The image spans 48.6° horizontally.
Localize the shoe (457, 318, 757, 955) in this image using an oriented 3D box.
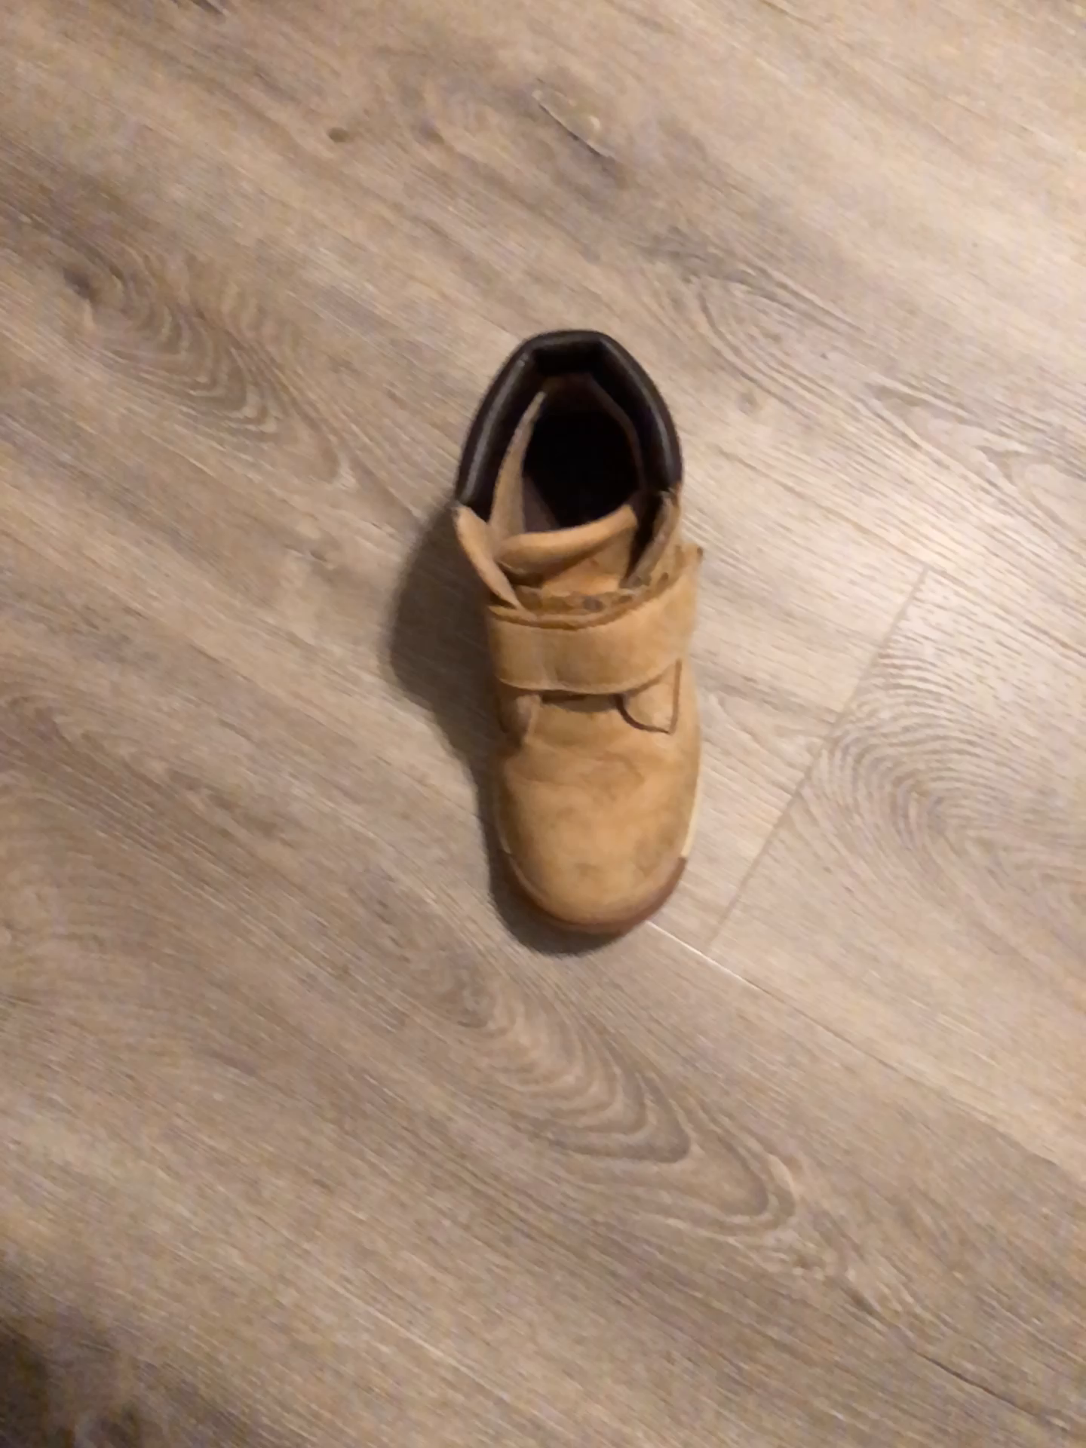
[{"bbox_3d":[0.021,-0.024,0.422,0.090,0.100,0.200,0,83,2],"label":"shoe"}]
